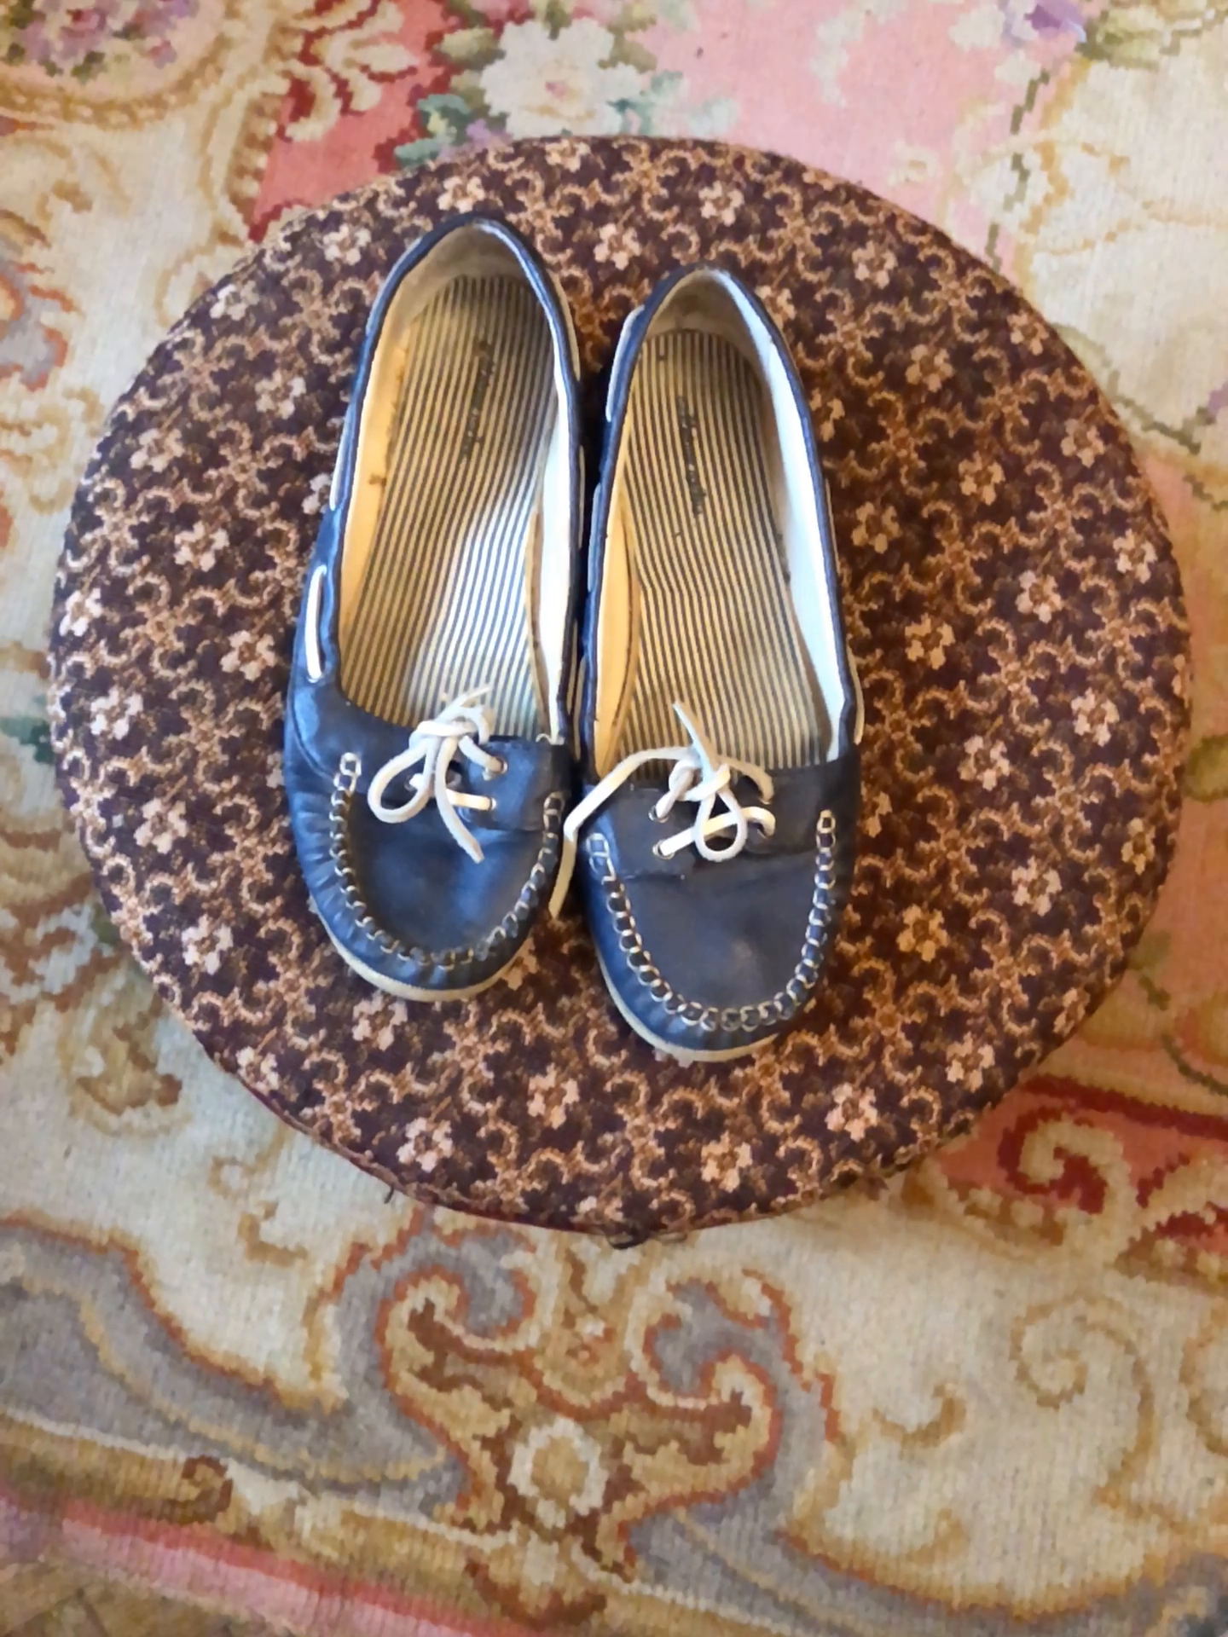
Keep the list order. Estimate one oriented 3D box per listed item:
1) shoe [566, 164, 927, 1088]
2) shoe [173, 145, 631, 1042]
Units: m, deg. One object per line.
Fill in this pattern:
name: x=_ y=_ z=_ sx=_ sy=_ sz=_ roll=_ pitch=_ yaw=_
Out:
shoe: x=0.036 y=-0.050 z=0.405 sx=0.090 sy=0.090 sz=0.250 roll=2 pitch=81 yaw=-2
shoe: x=-0.052 y=-0.065 z=0.418 sx=0.090 sy=0.100 sz=0.250 roll=4 pitch=75 yaw=5
